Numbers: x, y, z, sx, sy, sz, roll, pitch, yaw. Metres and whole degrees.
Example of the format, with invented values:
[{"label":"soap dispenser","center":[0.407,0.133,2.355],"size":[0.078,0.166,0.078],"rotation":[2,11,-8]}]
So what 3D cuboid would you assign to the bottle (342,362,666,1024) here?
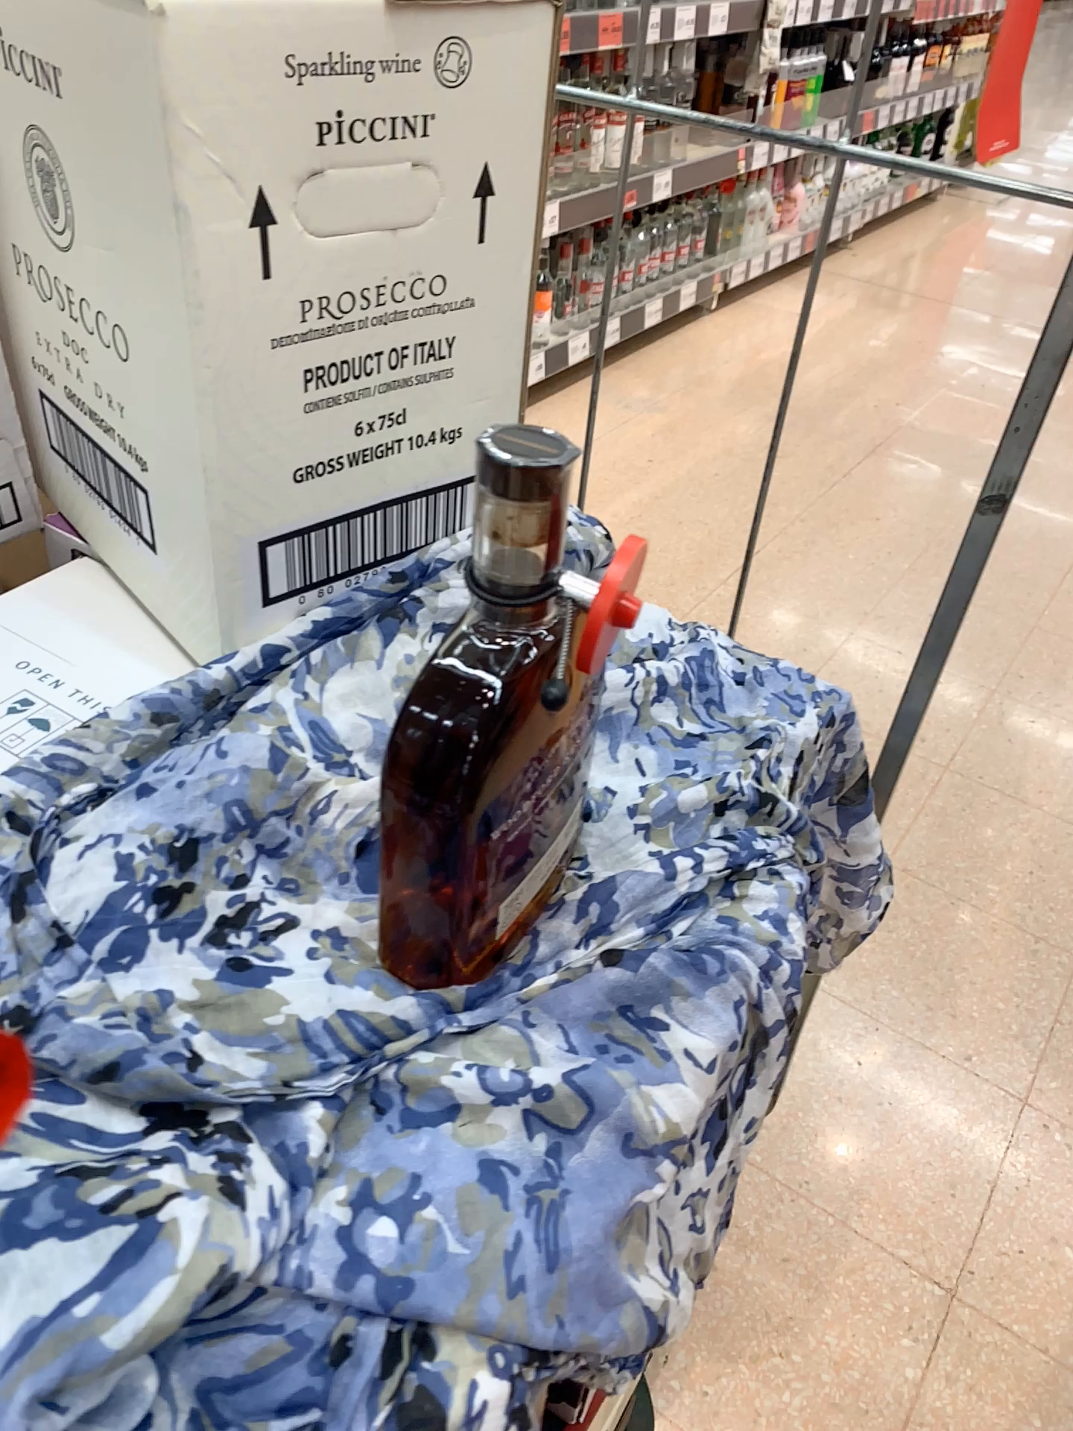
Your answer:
[{"label":"bottle","center":[-0.011,-0.006,0.435],"size":[0.051,0.222,0.134],"rotation":[20,40,20]}]
